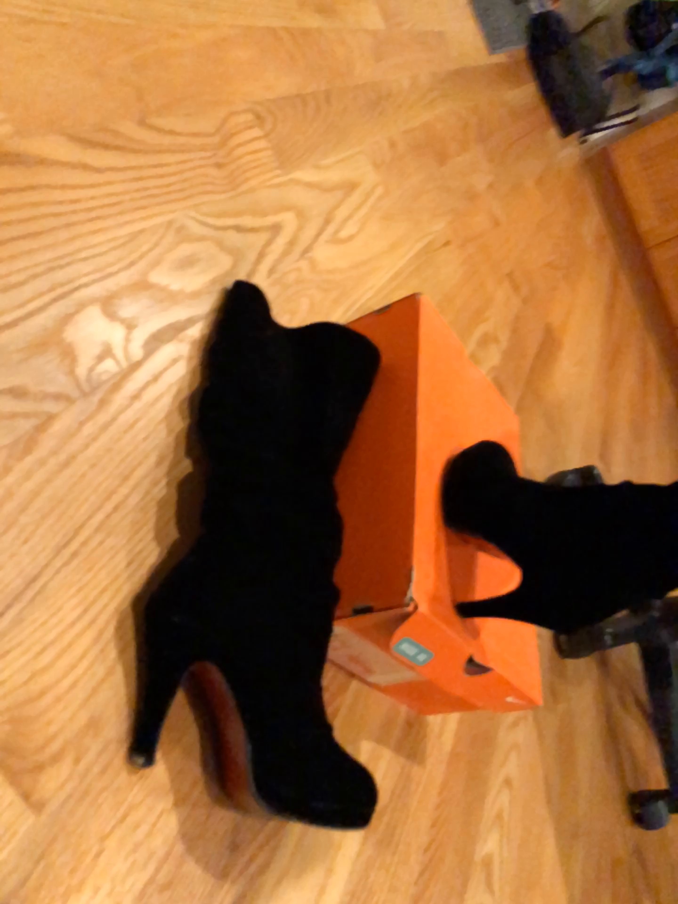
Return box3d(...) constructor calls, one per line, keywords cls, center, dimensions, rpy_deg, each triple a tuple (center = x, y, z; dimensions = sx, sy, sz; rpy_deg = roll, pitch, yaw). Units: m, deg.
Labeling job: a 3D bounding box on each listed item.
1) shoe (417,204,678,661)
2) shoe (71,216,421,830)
box3d(cls="shoe", center=(0.259, 0.003, 0.536), dimensions=(0.089, 0.397, 0.217), rpy_deg=(46, 38, -36))
box3d(cls="shoe", center=(-0.032, 0.041, 0.551), dimensions=(0.206, 0.089, 0.400), rpy_deg=(40, 41, -39))
